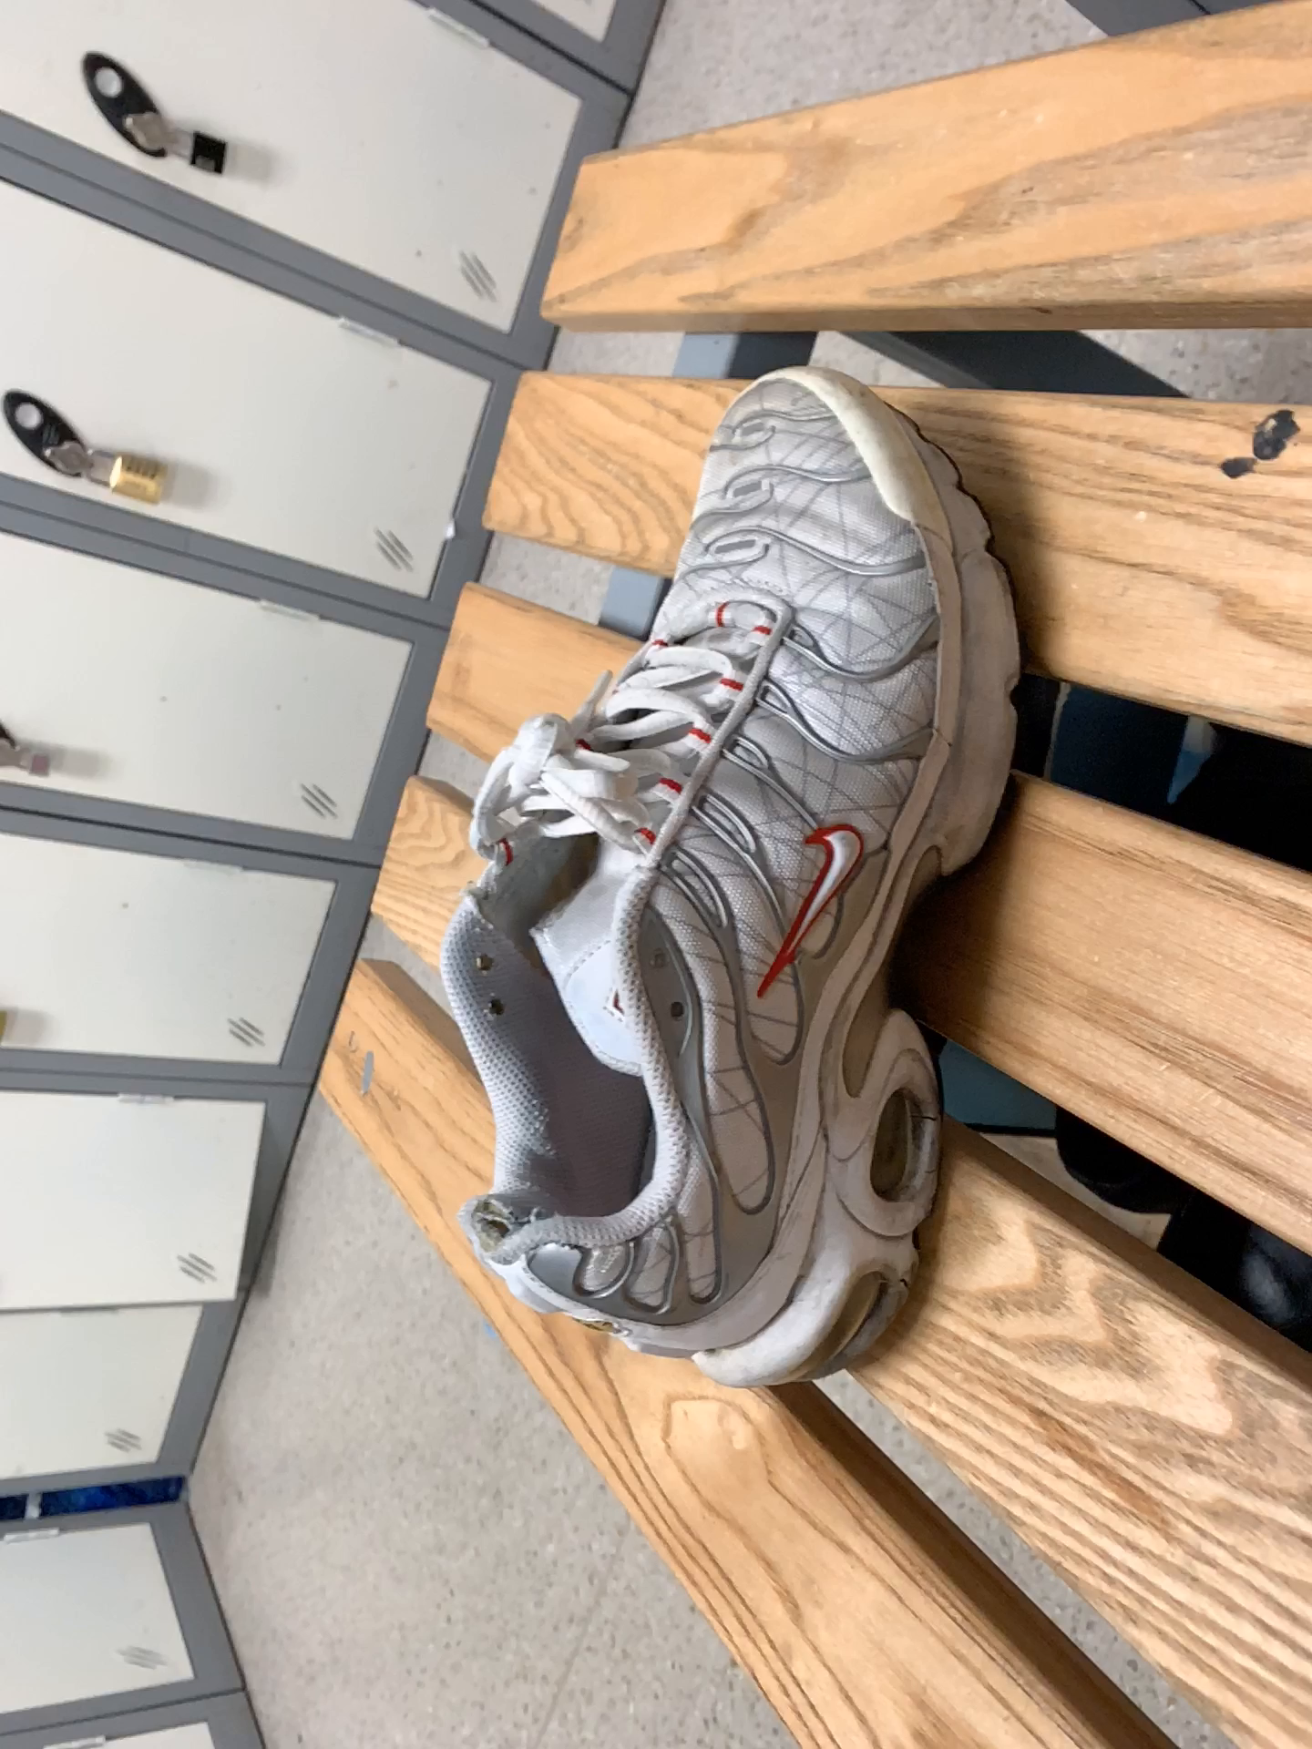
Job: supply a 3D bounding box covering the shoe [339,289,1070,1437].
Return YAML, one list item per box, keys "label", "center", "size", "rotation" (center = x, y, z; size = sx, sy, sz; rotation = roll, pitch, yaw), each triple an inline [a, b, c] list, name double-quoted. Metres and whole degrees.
- label: "shoe"
  center: [0.010, 0.001, 0.333]
  size: [0.101, 0.105, 0.226]
  rotation: [6, 85, 55]
